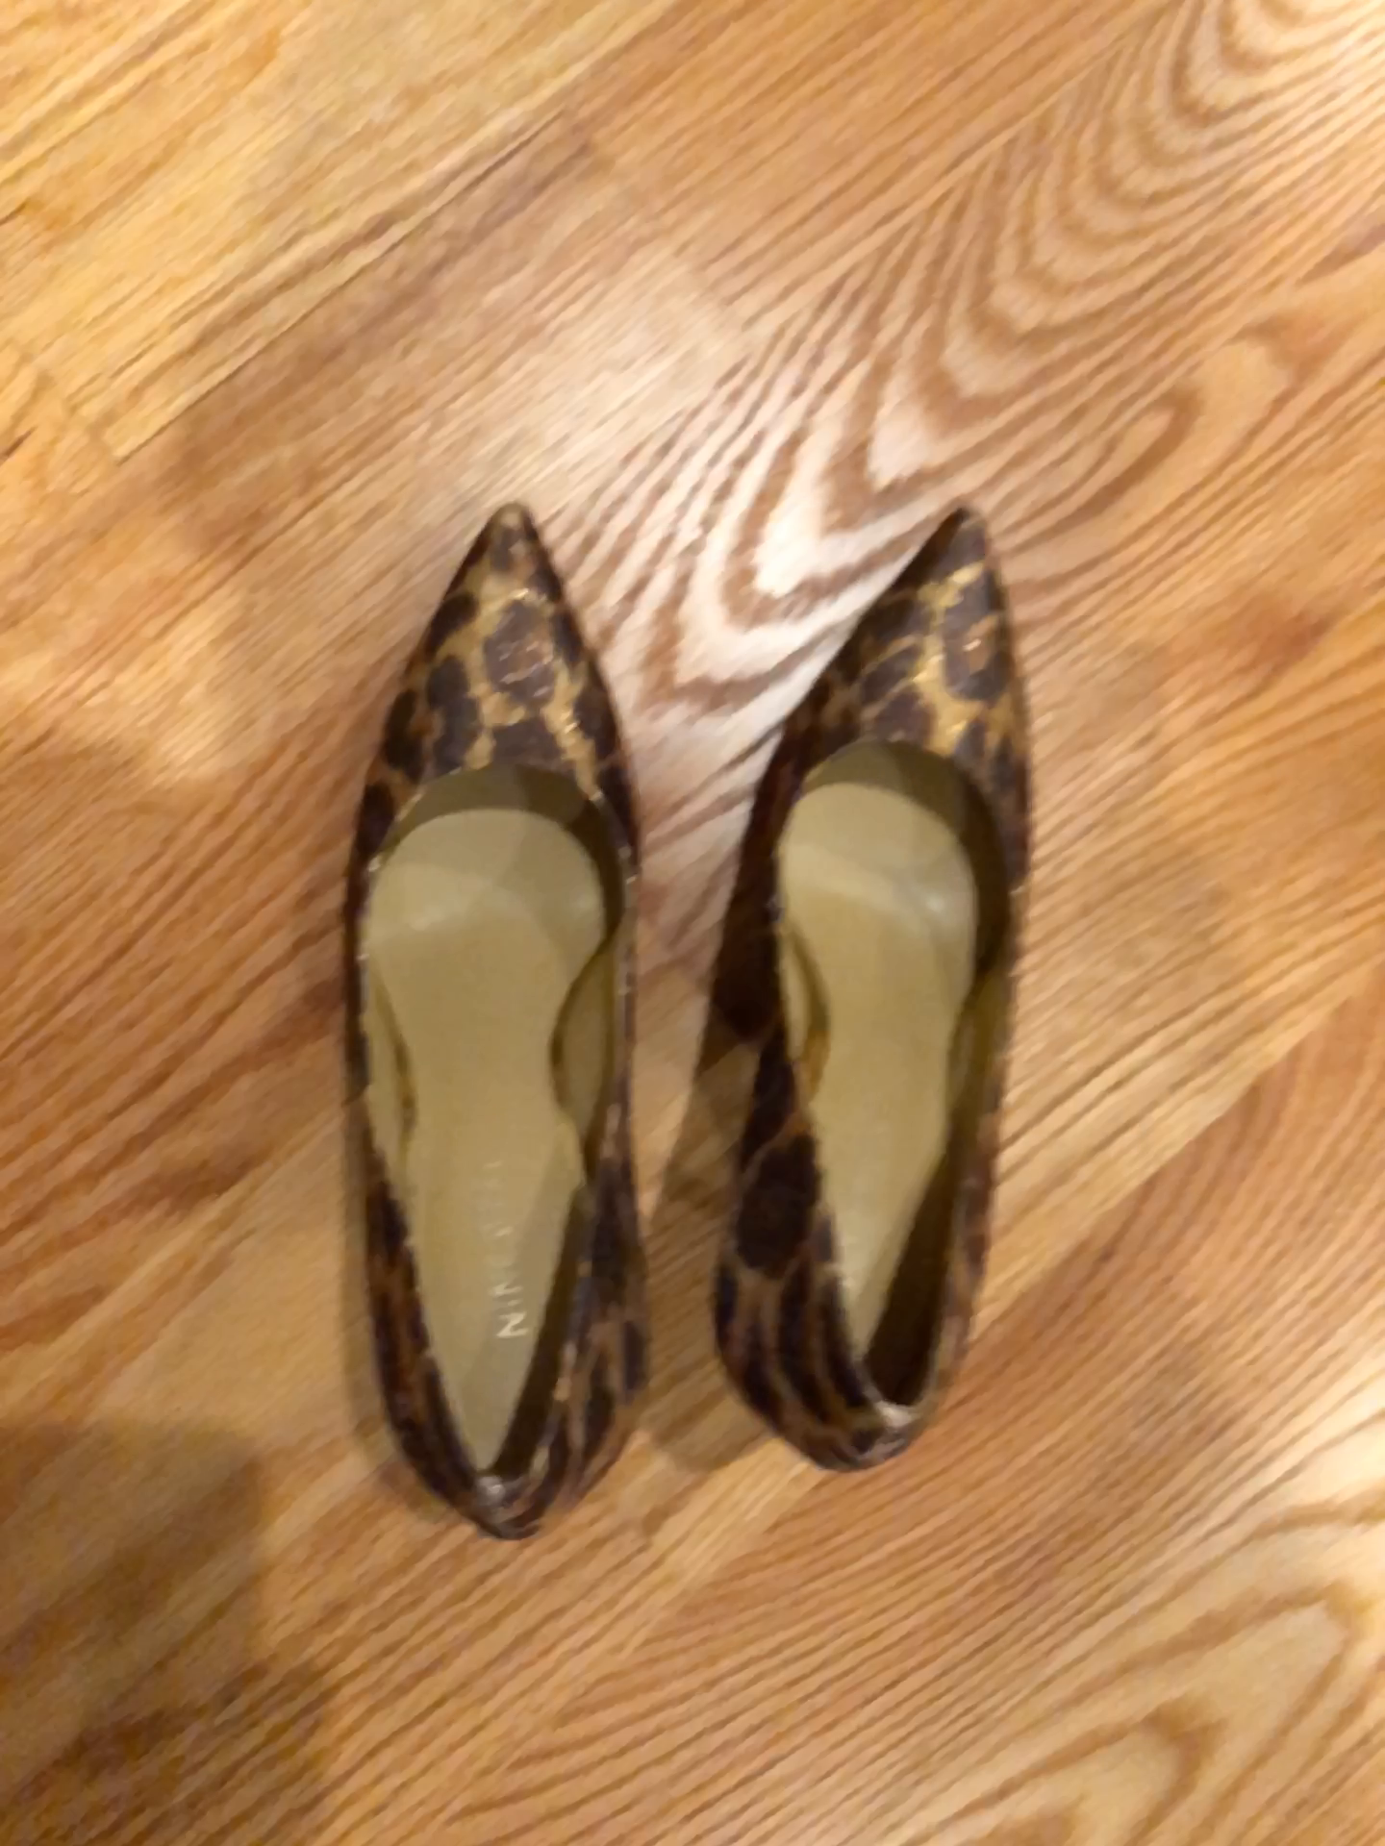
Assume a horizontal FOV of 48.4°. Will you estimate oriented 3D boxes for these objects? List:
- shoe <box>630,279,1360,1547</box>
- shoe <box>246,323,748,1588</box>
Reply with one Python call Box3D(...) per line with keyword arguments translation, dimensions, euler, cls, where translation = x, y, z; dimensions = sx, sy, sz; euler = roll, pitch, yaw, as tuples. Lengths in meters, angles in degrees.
Box3D(translation=(0.054, -0.001, 0.353), dimensions=(0.083, 0.144, 0.218), euler=(12, 88, -6), cls="shoe")
Box3D(translation=(-0.041, 0.005, 0.342), dimensions=(0.083, 0.144, 0.218), euler=(-1, 89, -6), cls="shoe")
